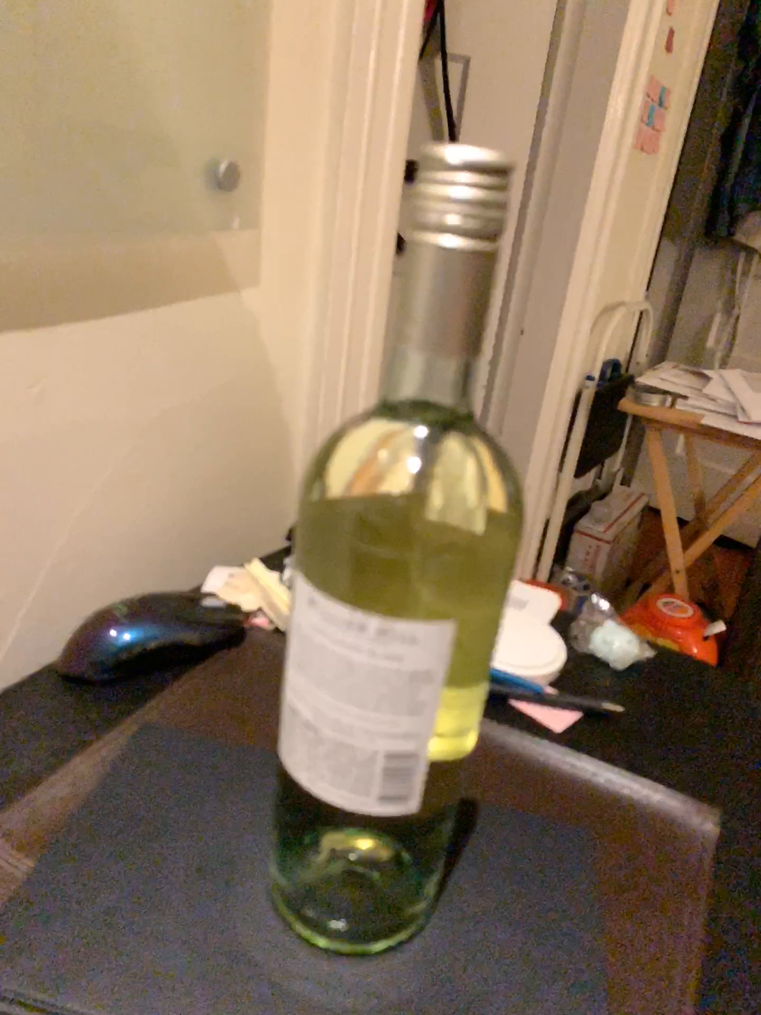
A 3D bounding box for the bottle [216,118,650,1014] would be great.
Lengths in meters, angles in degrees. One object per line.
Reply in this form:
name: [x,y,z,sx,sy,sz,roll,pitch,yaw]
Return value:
bottle: [0.009,0.032,0.282,0.090,0.298,0.090,6,24,-3]
